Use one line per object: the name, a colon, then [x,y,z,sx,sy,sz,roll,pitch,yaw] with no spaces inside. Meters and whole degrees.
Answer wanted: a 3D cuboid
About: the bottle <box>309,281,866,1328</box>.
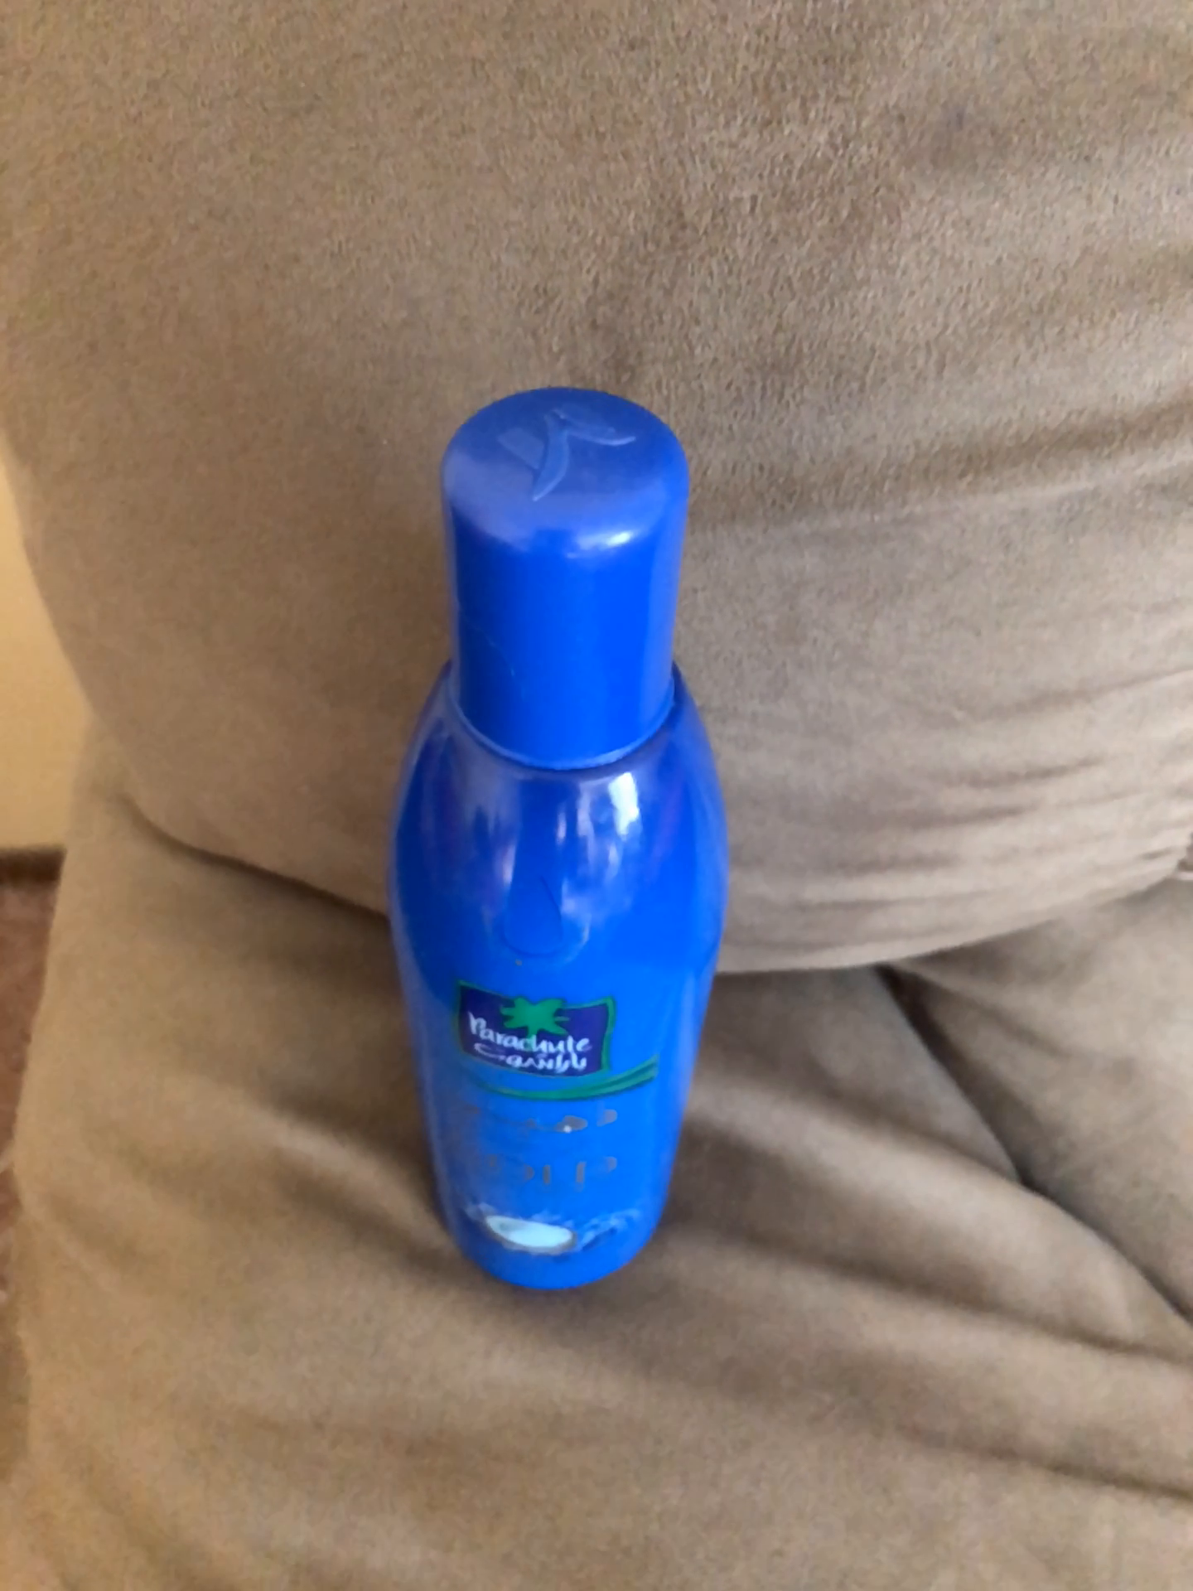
bottle: [-0.003,0.021,0.205,0.050,0.180,0.050,2,49,-2]
